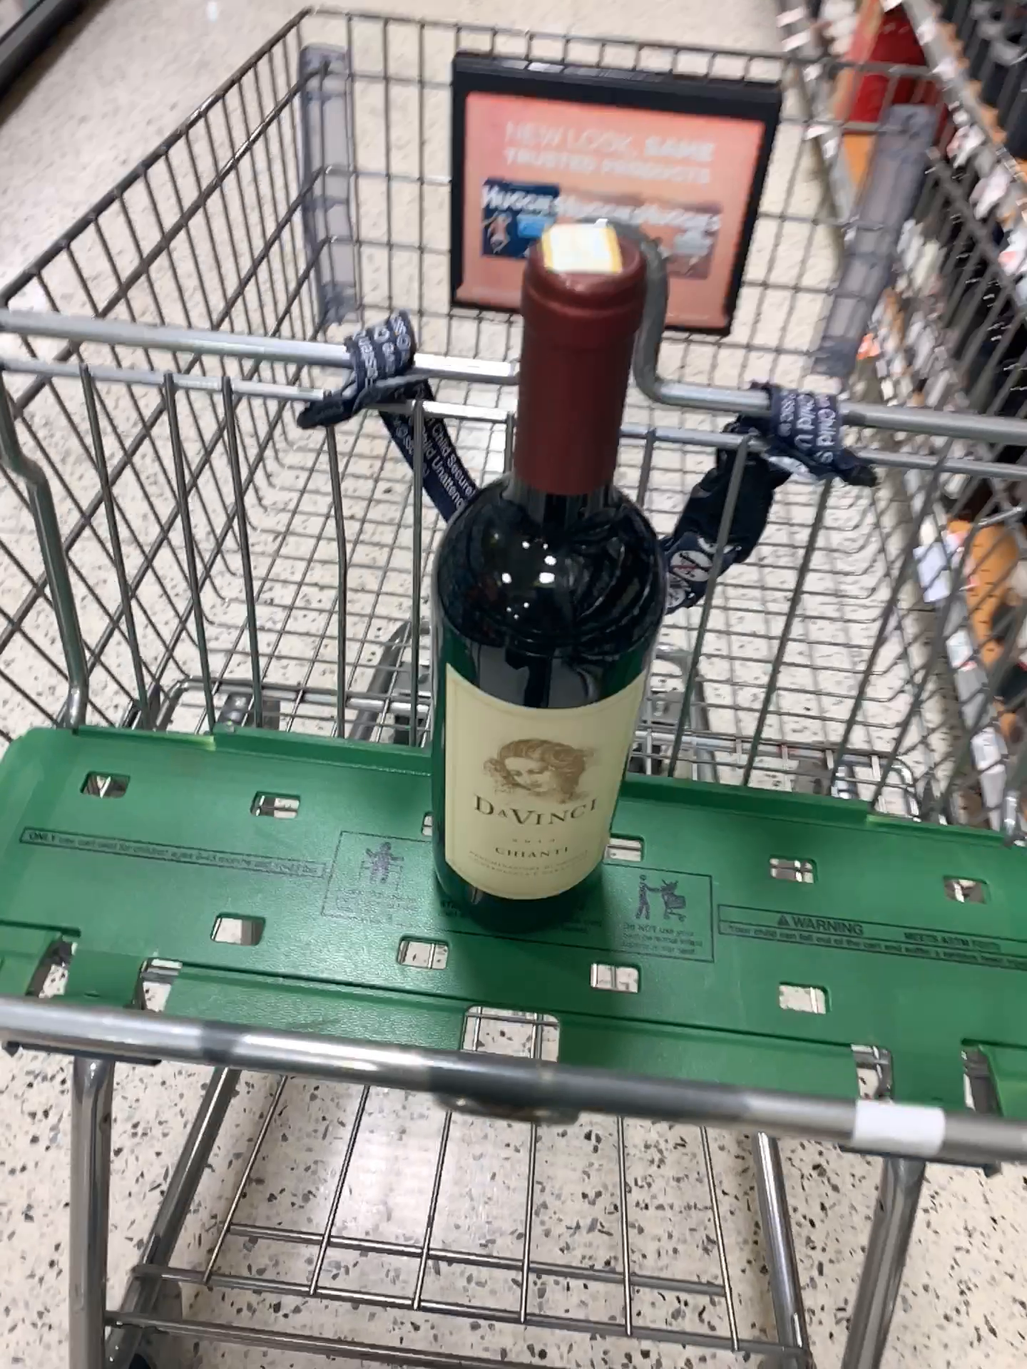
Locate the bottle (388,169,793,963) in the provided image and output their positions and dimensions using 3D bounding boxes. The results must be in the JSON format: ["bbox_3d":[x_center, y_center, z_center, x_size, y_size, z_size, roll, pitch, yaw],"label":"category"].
[{"bbox_3d":[0.011,-0.008,0.337,0.080,0.267,0.081,2,51,-2],"label":"bottle"}]
